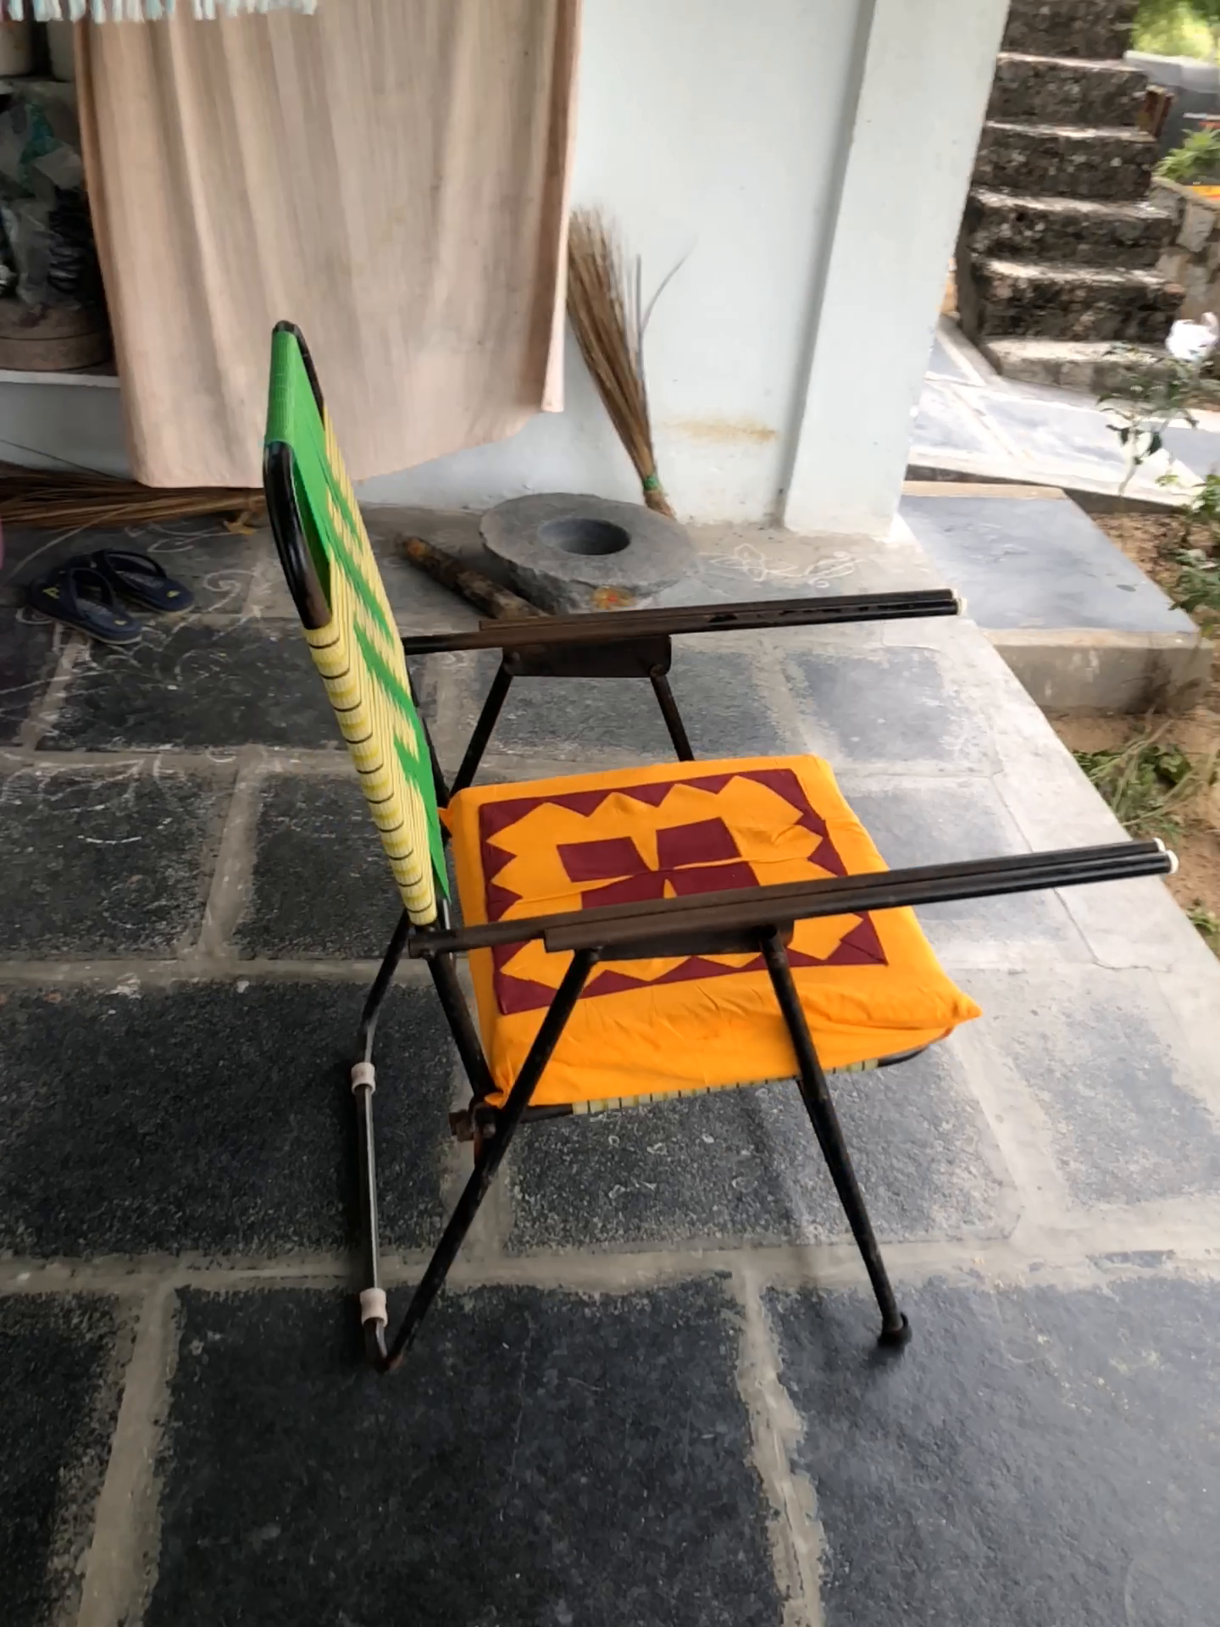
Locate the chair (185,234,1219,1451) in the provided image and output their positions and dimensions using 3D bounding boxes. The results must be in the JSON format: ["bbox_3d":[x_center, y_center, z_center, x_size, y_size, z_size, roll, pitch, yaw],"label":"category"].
[{"bbox_3d":[0.031,-0.002,1.229,0.681,0.825,0.663,-2,36,-11],"label":"chair"}]
